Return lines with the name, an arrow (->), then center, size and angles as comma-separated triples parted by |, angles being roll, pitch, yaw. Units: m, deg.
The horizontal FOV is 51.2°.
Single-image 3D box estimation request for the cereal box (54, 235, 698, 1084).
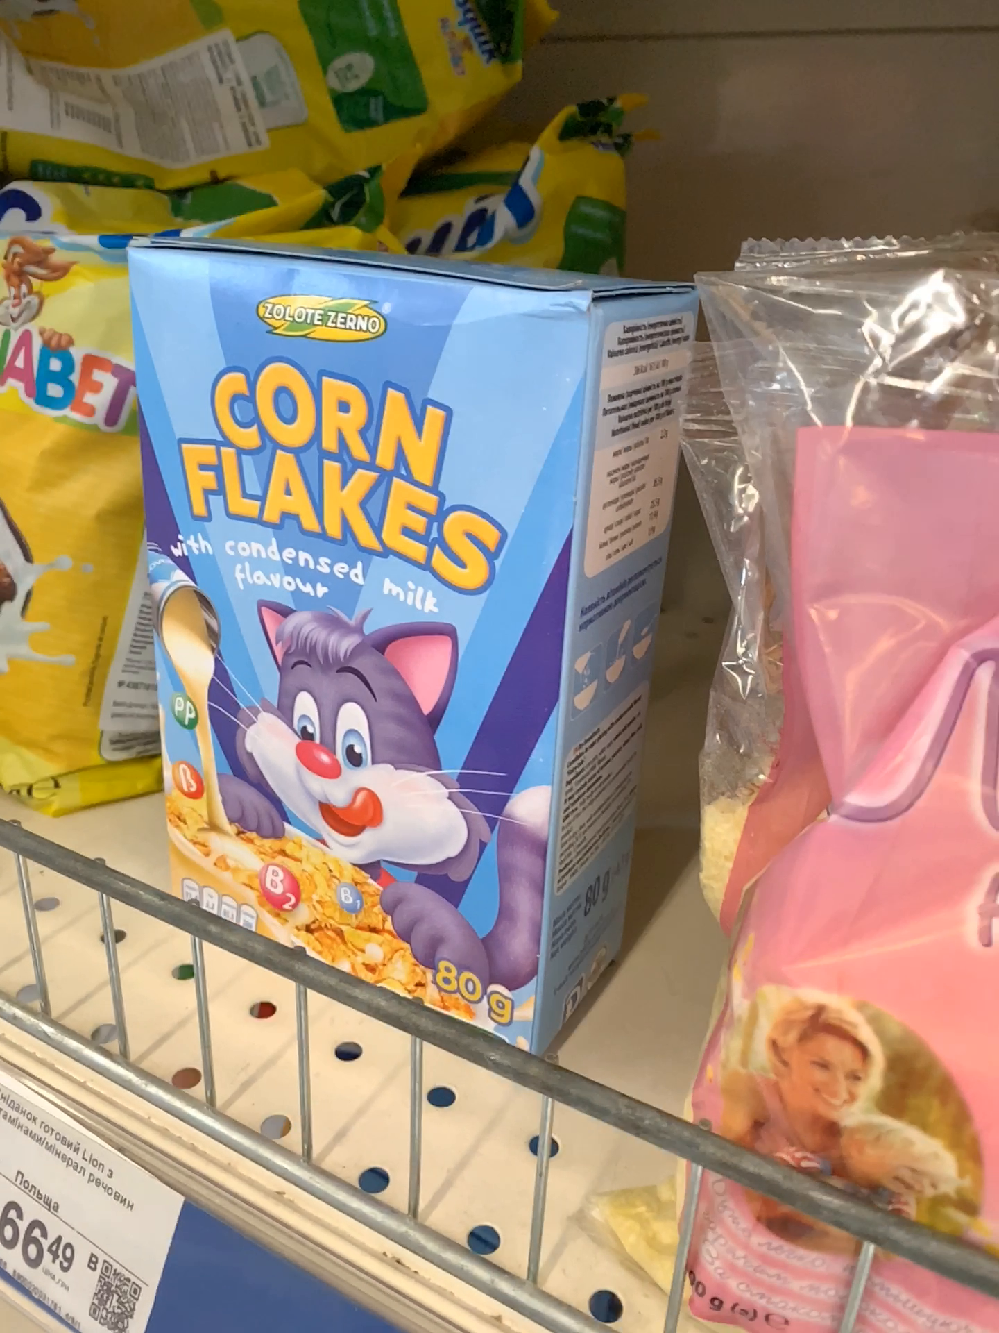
cereal box -> -0.030, -0.008, 0.236 | 0.120, 0.159, 0.050 | 15, 24, 26
